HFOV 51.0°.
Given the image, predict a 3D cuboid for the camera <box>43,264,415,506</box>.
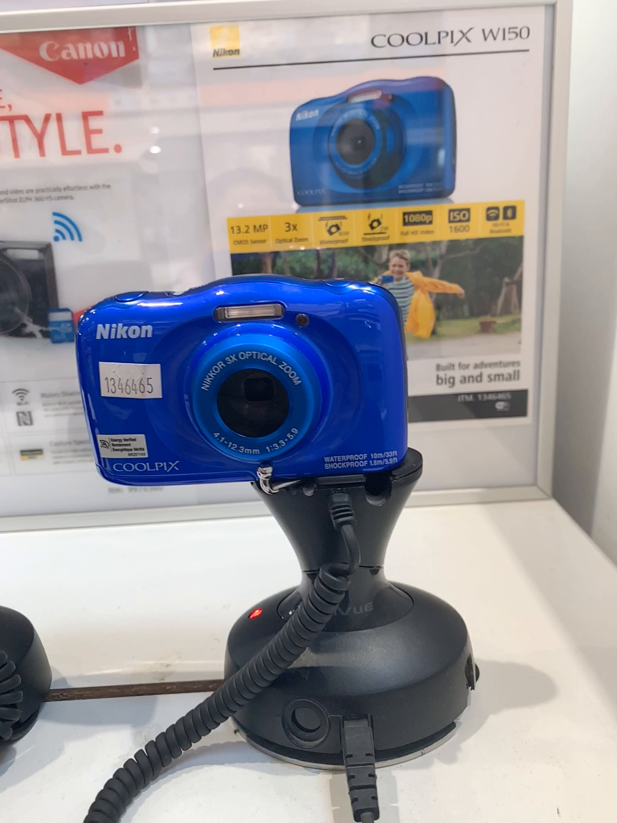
[{"bbox_3d":[-0.020,-0.011,0.205,0.101,0.063,0.046,-3,15,2],"label":"camera"}]
